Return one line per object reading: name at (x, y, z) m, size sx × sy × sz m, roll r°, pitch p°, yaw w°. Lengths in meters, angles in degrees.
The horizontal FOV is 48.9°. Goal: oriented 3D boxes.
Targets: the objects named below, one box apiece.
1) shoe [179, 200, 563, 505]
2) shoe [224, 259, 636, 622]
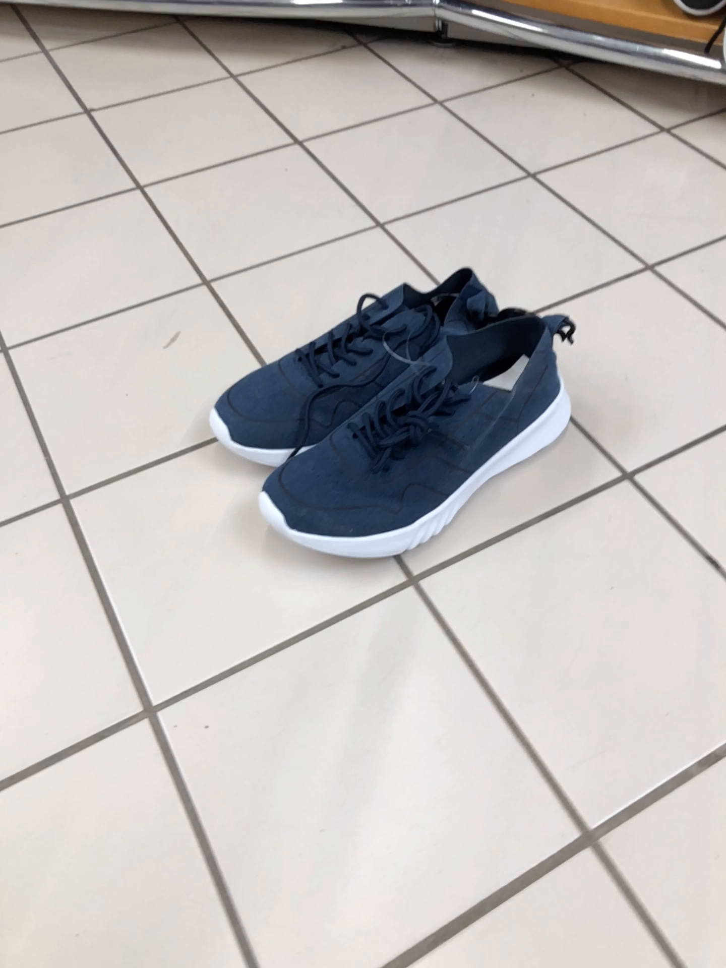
shoe at (0.013, -0.115, 0.656) m, size 0.291 × 0.109 × 0.100 m, roll -28°, pitch 56°, yaw -20°
shoe at (0.055, -0.040, 0.600) m, size 0.291 × 0.119 × 0.100 m, roll -31°, pitch 57°, yaw -22°
